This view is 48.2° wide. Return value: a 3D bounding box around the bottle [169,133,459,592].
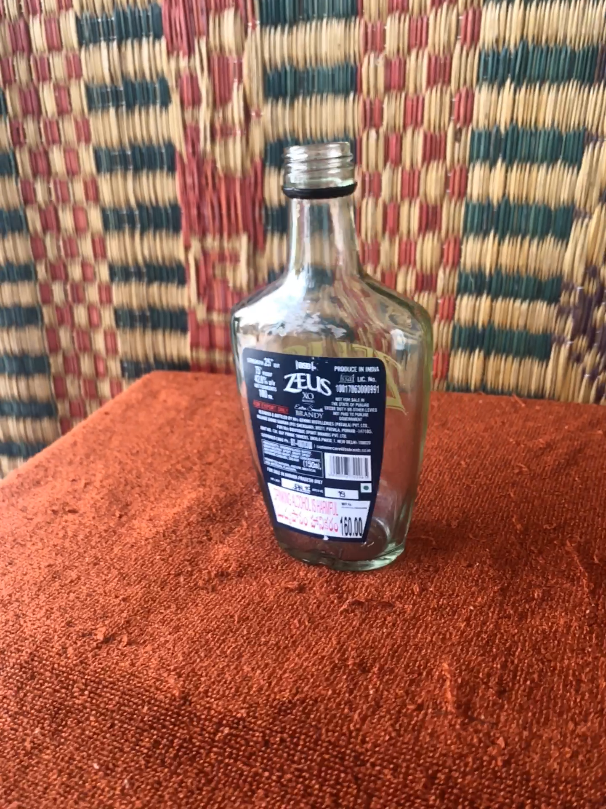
[{"bbox_3d":[0.009,-0.013,0.241,0.080,0.149,0.040,7,29,21],"label":"bottle"}]
